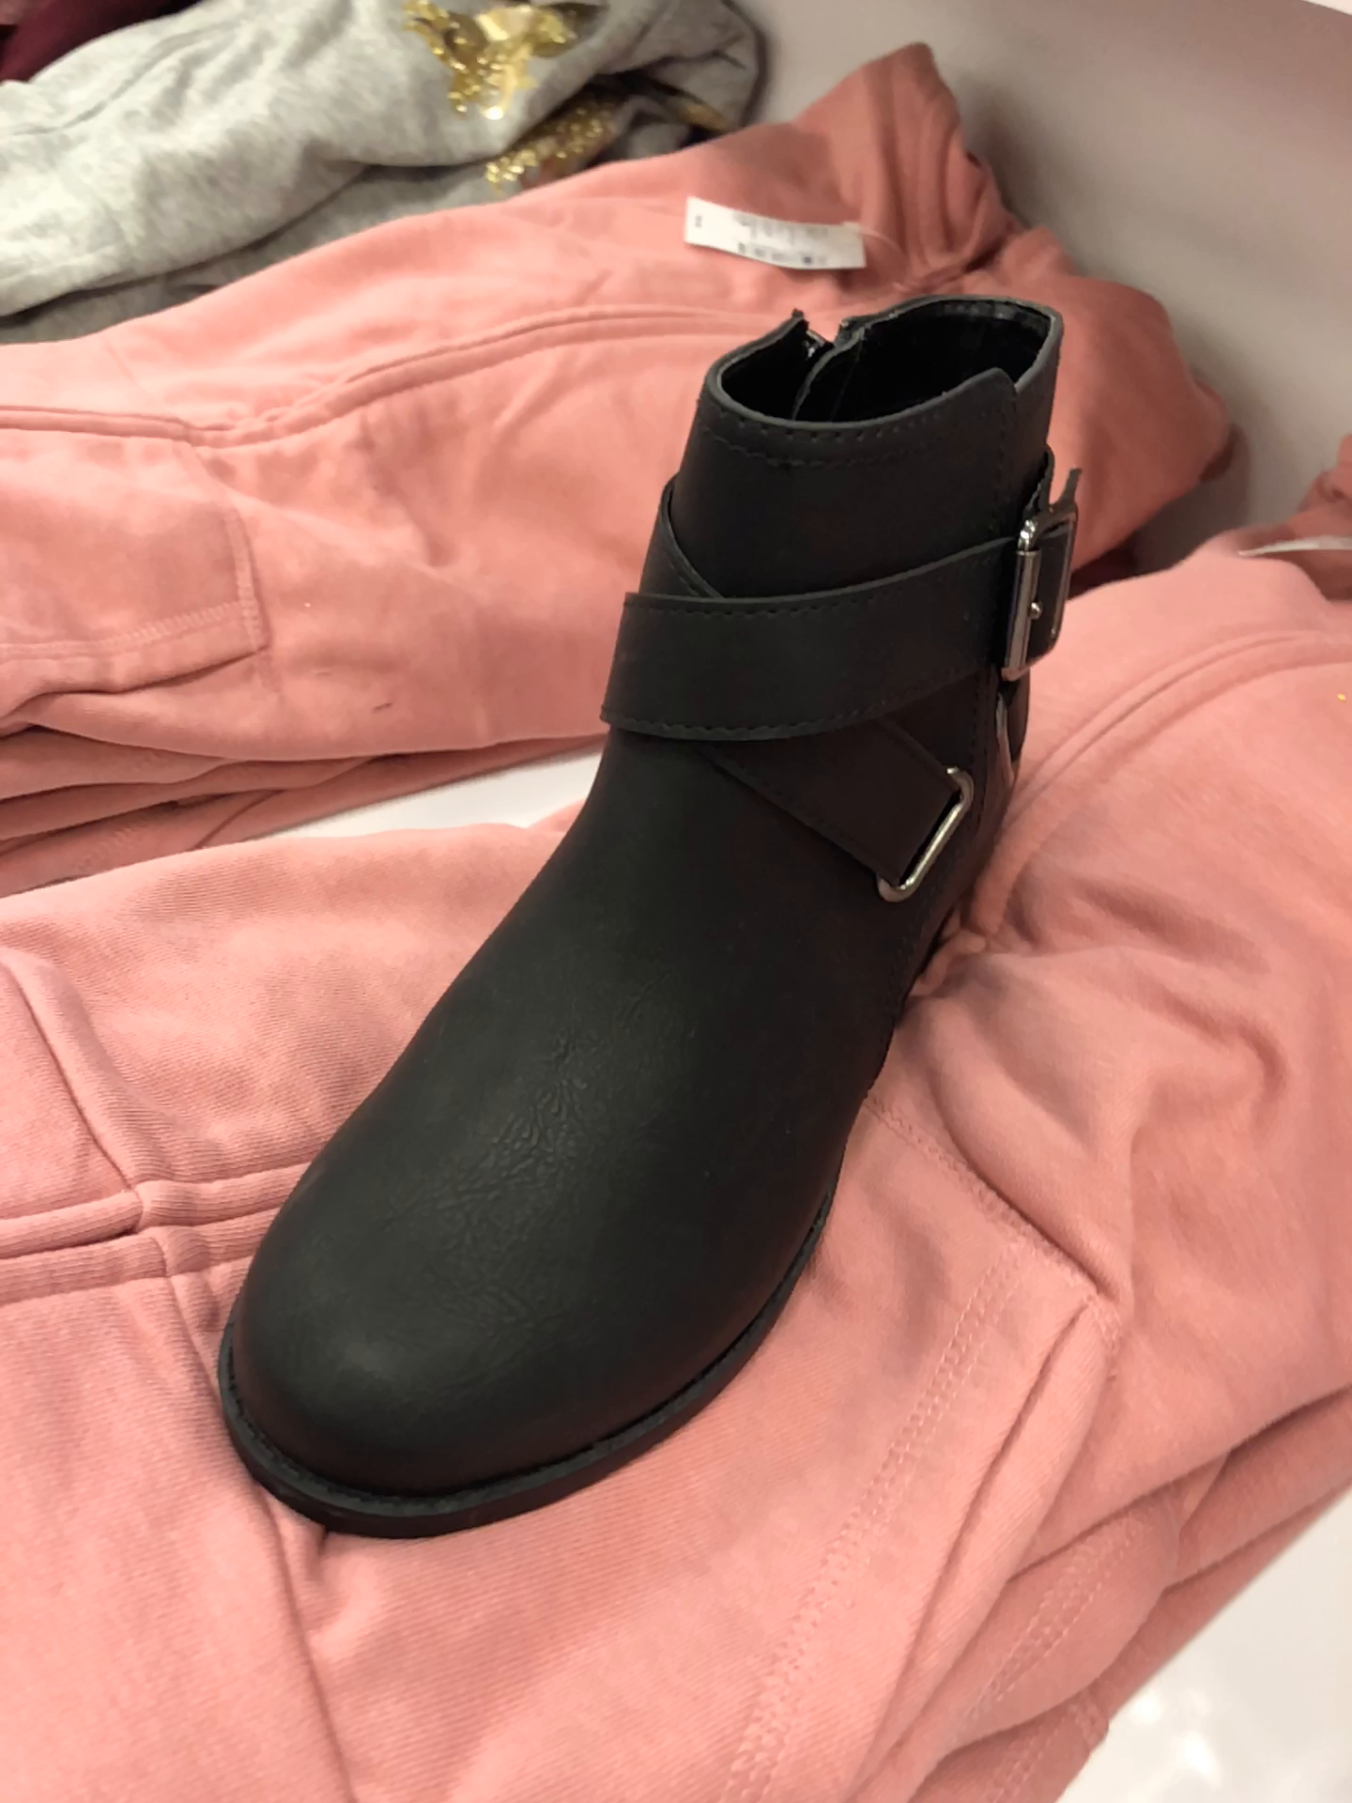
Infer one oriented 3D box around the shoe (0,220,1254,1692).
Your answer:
[{"bbox_3d":[0.006,-0.009,0.245,0.080,0.129,0.201,25,46,21],"label":"shoe"}]
